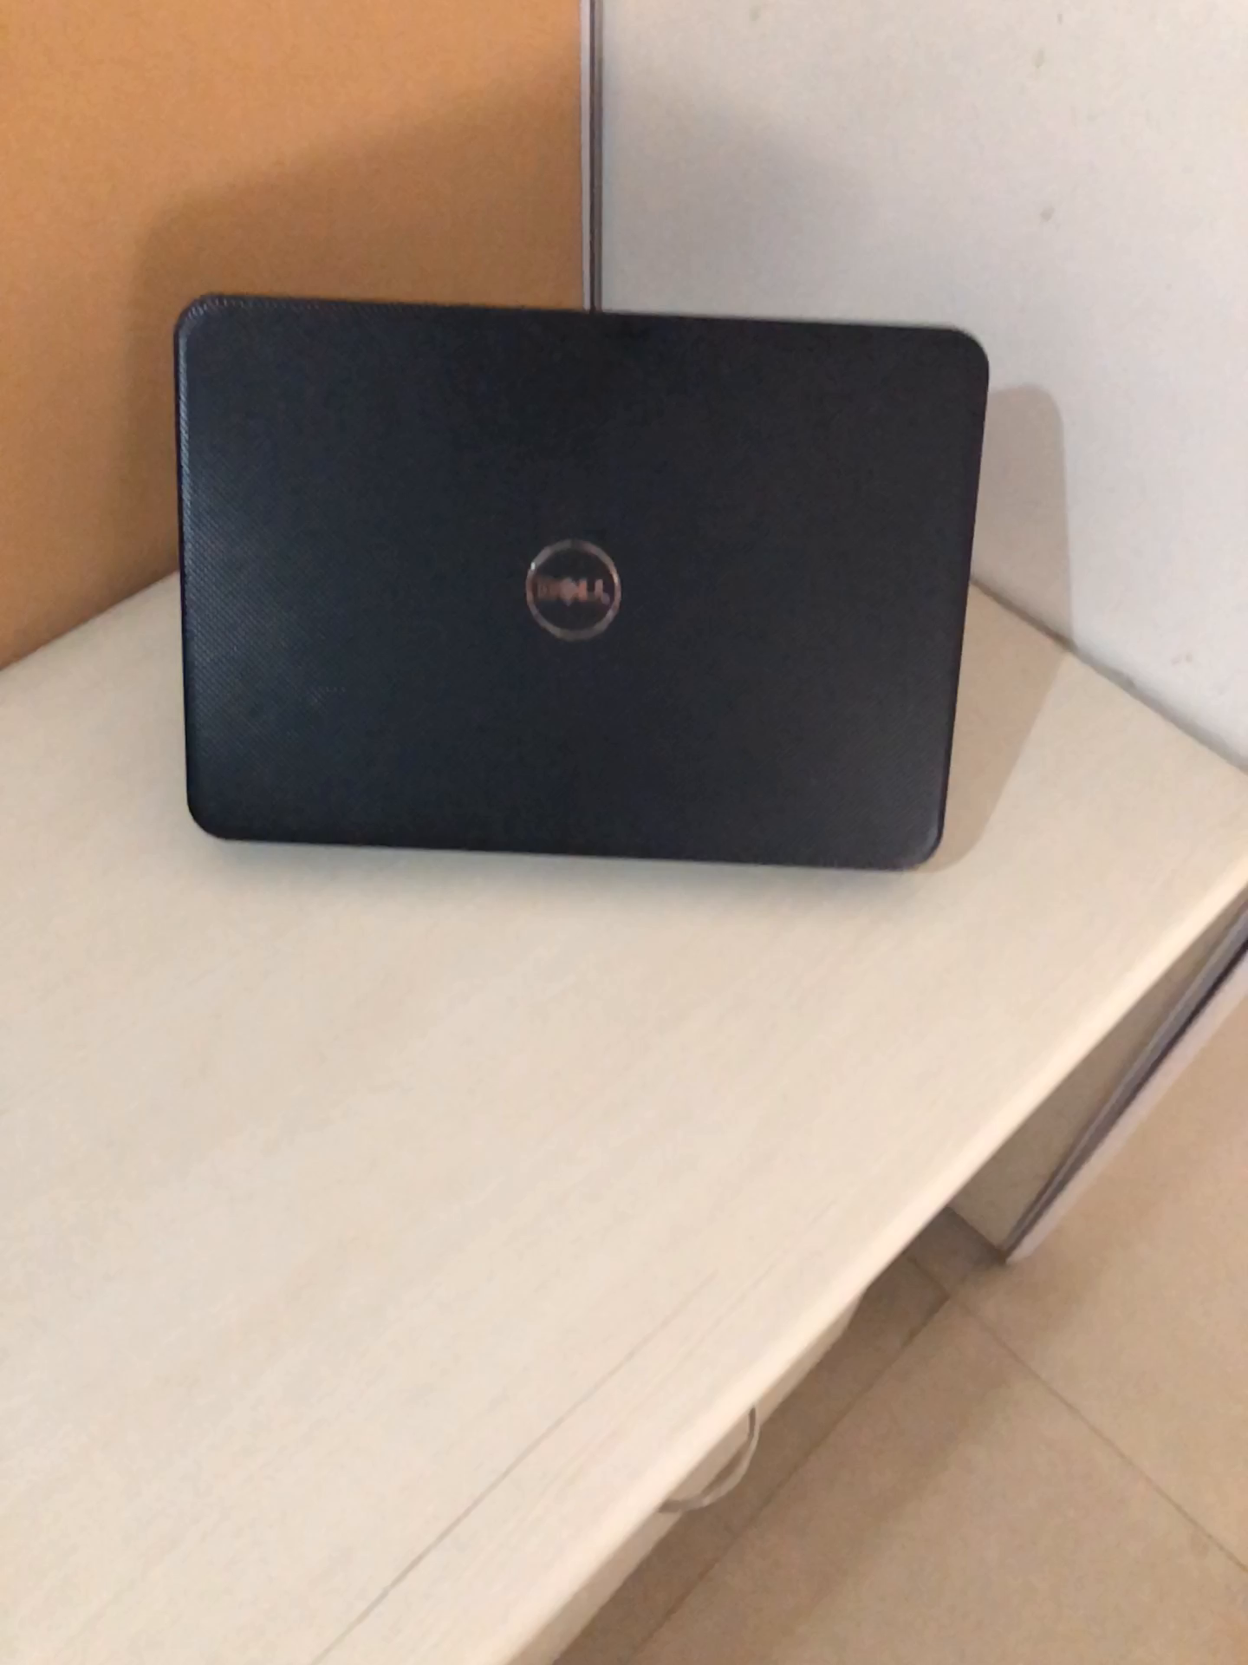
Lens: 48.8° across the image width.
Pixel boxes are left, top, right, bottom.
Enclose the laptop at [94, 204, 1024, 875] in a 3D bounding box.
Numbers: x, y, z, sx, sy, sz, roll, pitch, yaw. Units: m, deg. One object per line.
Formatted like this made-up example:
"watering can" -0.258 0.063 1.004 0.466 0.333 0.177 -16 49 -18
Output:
"laptop" -0.020 -0.143 0.671 0.351 0.179 0.256 3 53 -2
